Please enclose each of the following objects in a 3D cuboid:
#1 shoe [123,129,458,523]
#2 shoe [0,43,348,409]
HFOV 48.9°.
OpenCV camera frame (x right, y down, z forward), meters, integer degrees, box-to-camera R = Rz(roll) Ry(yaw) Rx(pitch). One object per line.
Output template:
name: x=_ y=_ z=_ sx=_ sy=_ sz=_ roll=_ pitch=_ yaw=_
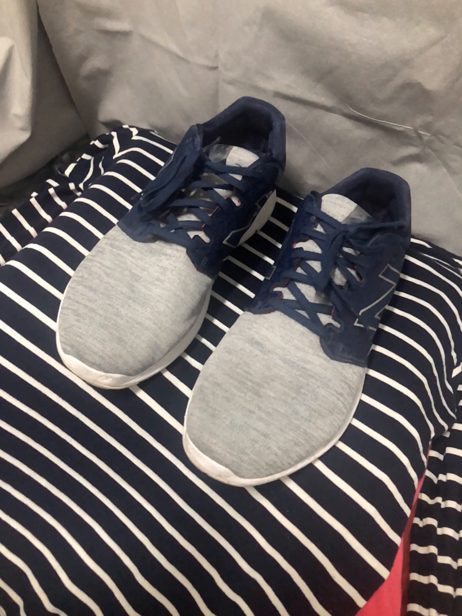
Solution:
shoe: x=0.053 y=-0.010 z=0.356 sx=0.120 sy=0.079 sz=0.262 roll=29 pitch=53 yaw=11
shoe: x=-0.032 y=-0.092 z=0.408 sx=0.120 sy=0.089 sz=0.322 roll=29 pitch=53 yaw=11
